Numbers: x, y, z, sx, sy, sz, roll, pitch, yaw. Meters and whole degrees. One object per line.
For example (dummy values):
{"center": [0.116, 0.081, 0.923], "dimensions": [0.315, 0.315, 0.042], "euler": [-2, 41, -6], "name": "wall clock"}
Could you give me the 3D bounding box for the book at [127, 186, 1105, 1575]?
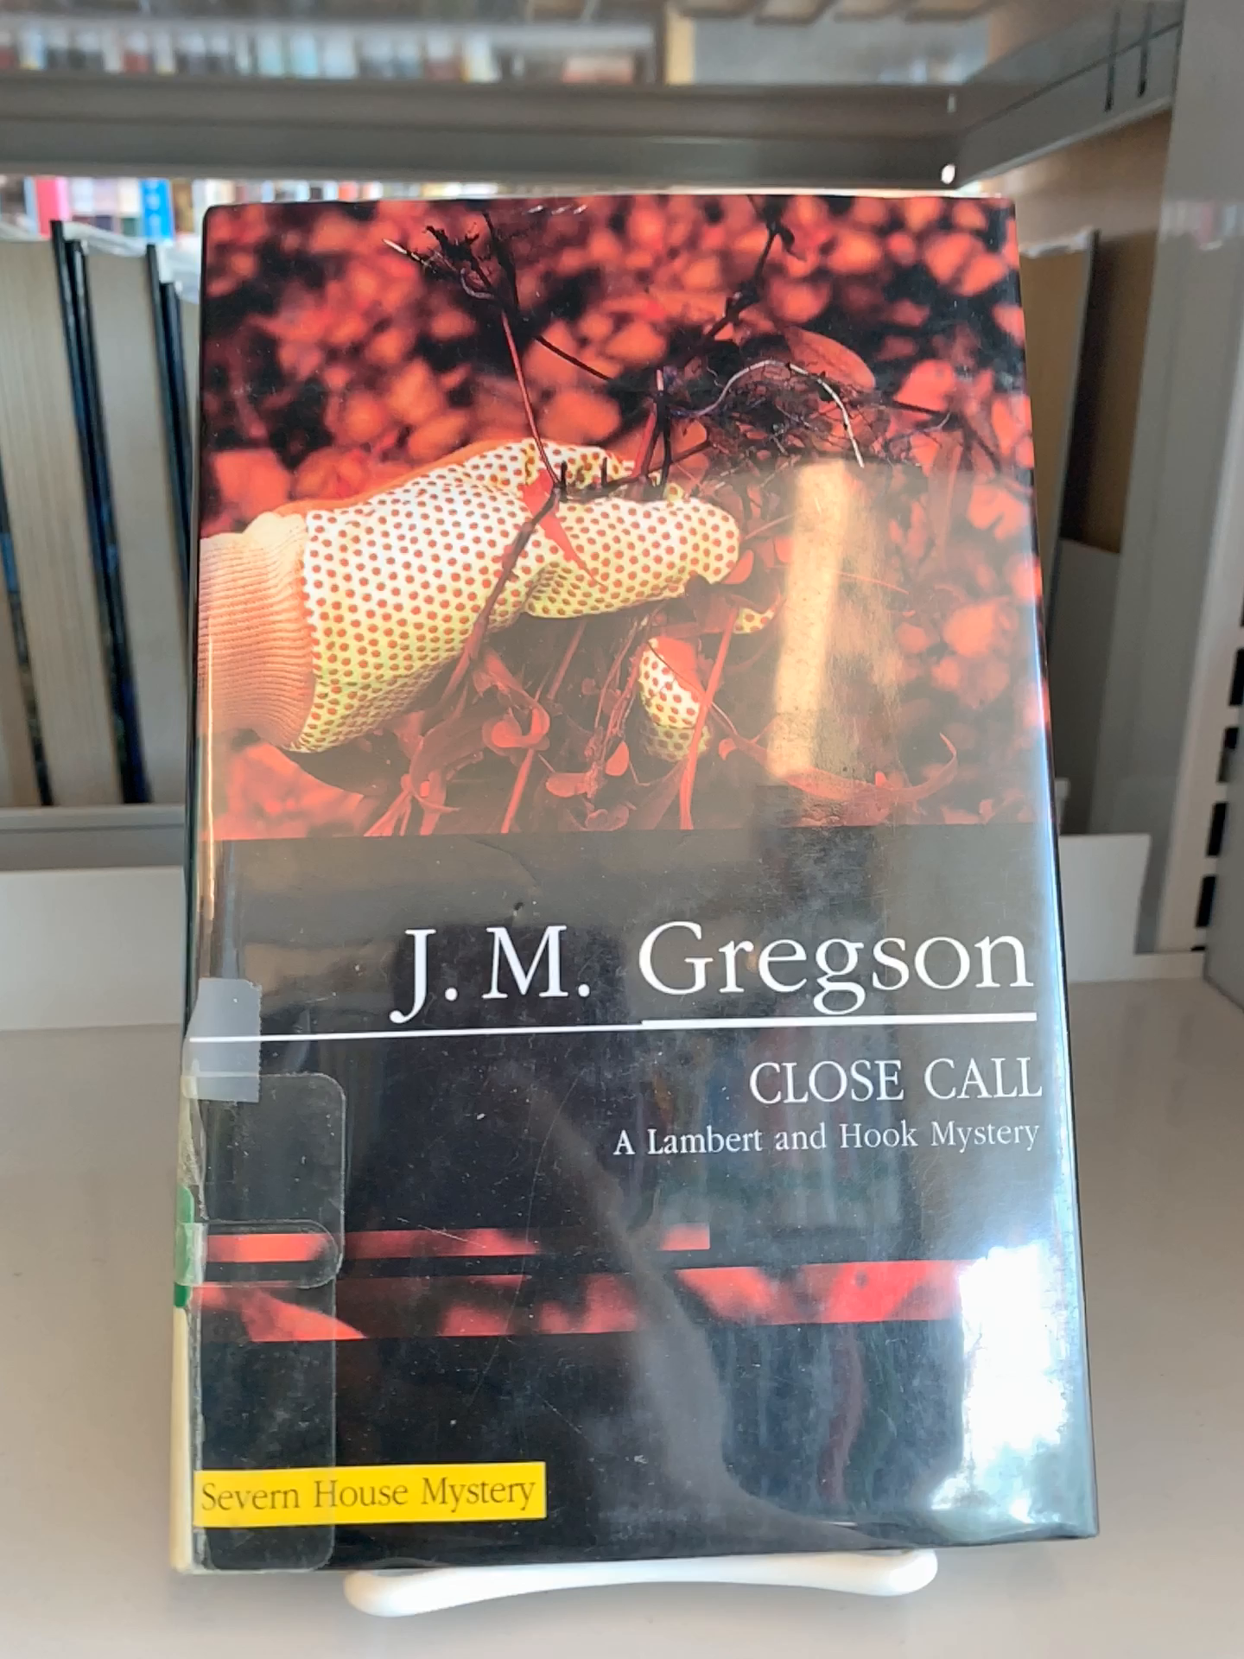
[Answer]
{"center": [-0.003, 0.002, 0.212], "dimensions": [0.140, 0.208, 0.030], "euler": [-1, -6, -1], "name": "book"}
